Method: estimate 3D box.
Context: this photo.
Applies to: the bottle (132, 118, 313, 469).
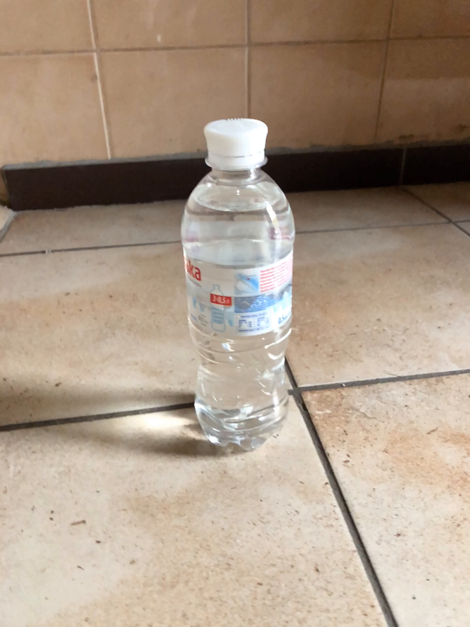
[{"bbox_3d":[0.000,-0.009,0.324,0.080,0.199,0.081,-1,32,0],"label":"bottle"}]
